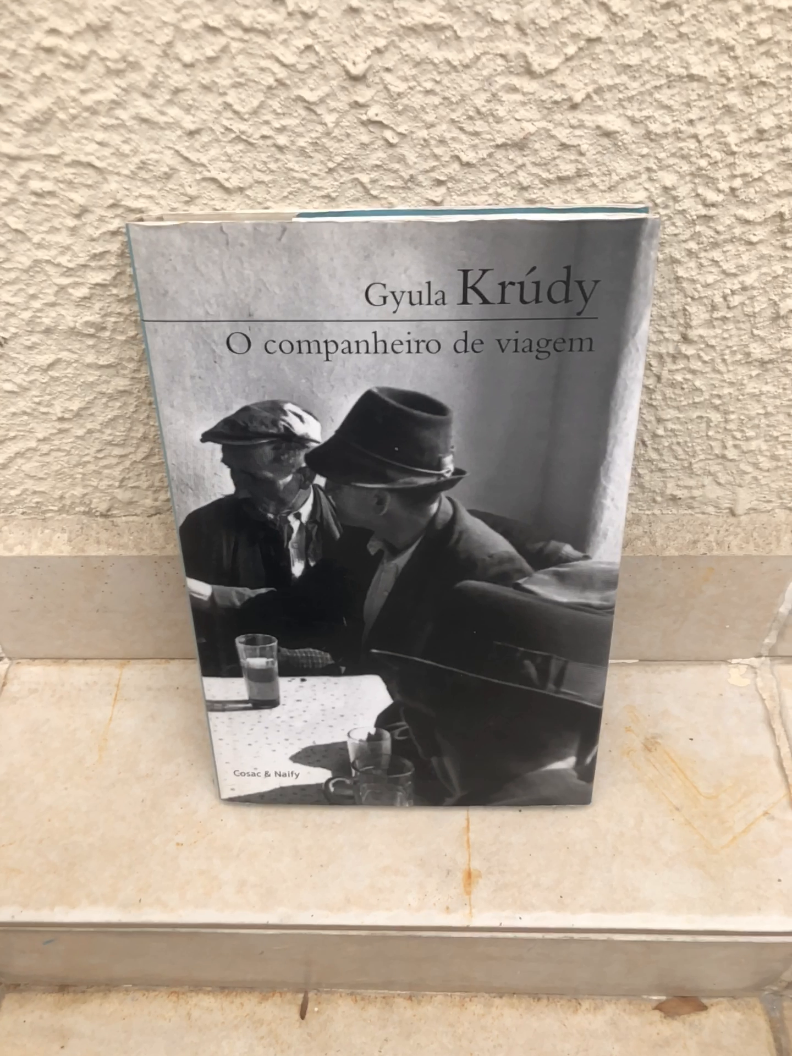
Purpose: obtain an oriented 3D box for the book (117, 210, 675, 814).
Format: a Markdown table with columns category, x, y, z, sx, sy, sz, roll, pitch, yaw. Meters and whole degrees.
| category | x | y | z | sx | sy | sz | roll | pitch | yaw |
| --- | --- | --- | --- | --- | --- | --- | --- | --- | --- |
| book | 0.001 | 0.010 | 0.275 | 0.137 | 0.205 | 0.019 | 0 | 30 | 1 |
